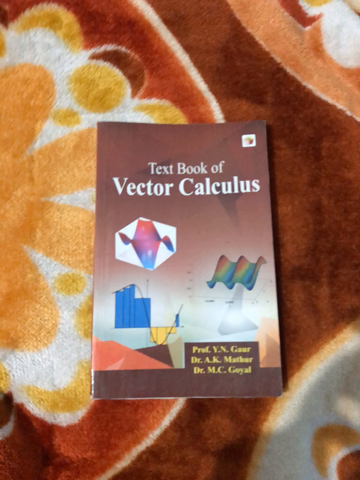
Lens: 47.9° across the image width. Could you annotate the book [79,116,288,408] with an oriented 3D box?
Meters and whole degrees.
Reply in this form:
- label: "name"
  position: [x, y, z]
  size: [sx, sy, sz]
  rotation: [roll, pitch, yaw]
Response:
- label: "book"
  position: [0.000, 0.010, 0.302]
  size: [0.140, 0.020, 0.210]
  rotation: [-1, 79, -1]
